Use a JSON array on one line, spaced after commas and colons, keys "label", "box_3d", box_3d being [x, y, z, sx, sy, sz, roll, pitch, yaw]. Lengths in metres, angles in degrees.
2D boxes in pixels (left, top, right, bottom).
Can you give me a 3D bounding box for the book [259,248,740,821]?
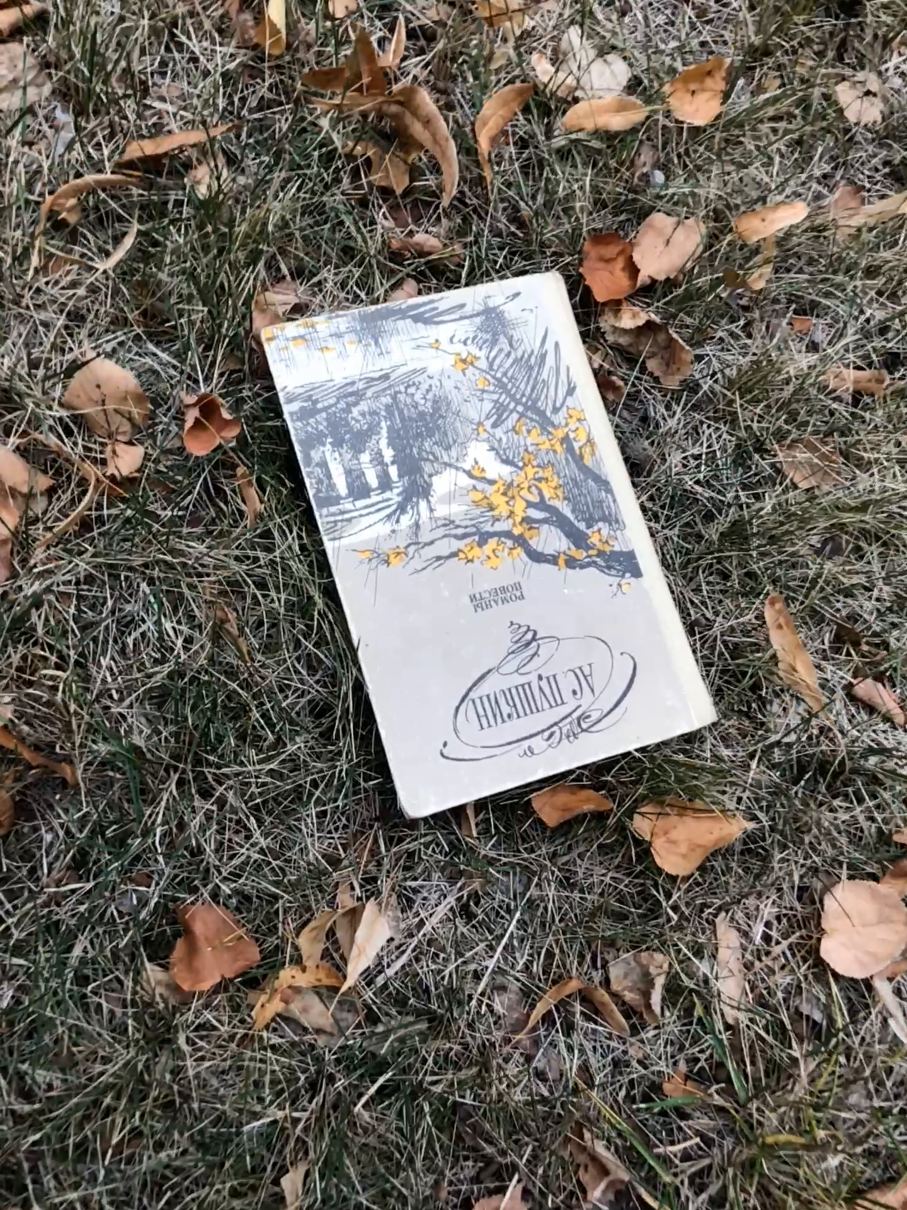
[{"label": "book", "box_3d": [0.015, -0.036, 0.407, 0.135, 0.021, 0.210, -16, 79, -12]}]
